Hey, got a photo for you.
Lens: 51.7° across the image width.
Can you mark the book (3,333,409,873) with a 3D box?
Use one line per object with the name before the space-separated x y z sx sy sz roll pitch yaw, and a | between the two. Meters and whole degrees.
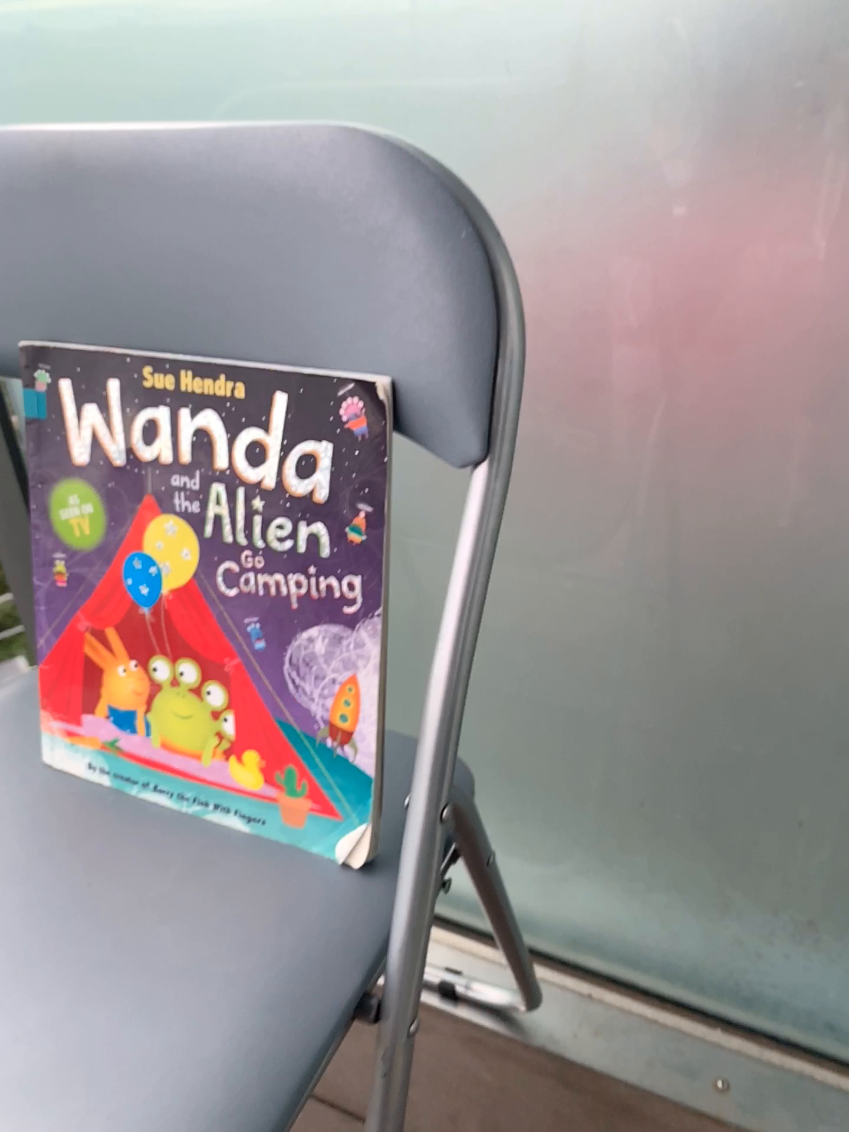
book | -0.124 0.017 0.492 0.230 0.268 0.030 11 21 22
